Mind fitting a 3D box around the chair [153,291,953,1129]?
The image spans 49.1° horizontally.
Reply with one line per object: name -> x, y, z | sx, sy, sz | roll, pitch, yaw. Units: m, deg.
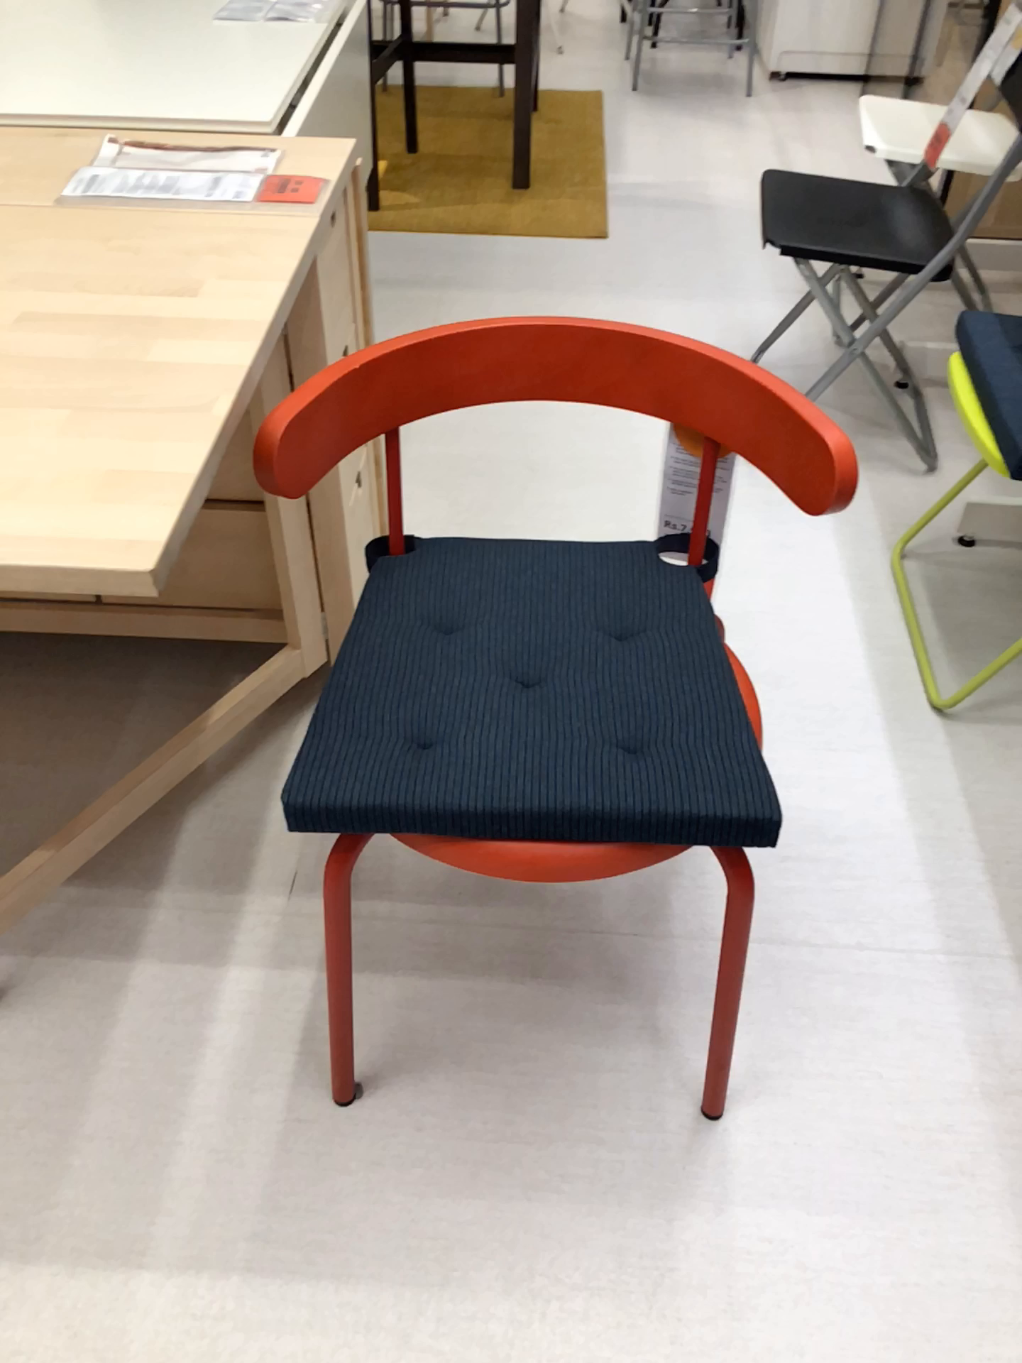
chair -> 0.028, 0.044, 1.142 | 0.520, 0.676, 0.503 | 2, 43, 1
